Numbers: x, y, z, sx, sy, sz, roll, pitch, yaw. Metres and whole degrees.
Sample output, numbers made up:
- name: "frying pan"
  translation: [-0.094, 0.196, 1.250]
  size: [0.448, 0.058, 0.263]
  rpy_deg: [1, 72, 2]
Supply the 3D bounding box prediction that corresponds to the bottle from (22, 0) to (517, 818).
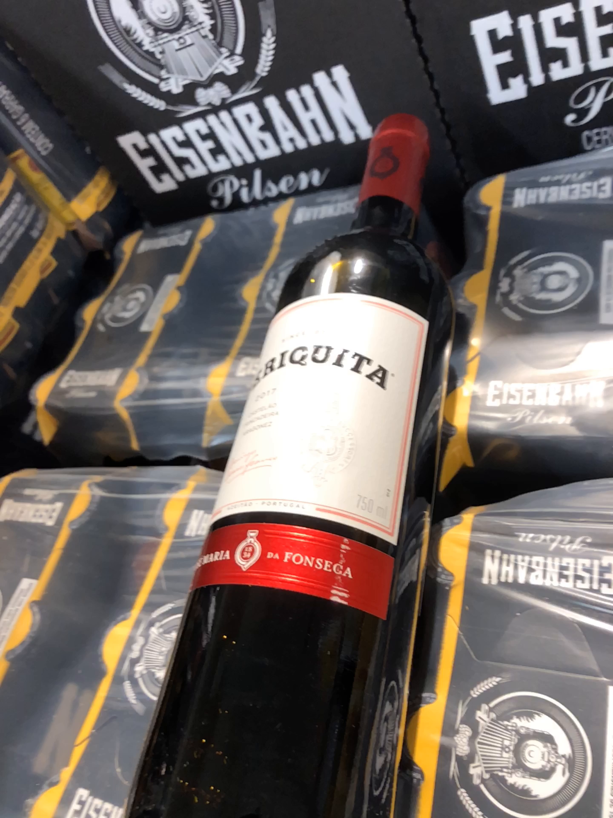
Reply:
- name: "bottle"
  translation: [0.020, -0.016, 0.248]
  size: [0.080, 0.070, 0.331]
  rpy_deg: [-4, 54, 27]
